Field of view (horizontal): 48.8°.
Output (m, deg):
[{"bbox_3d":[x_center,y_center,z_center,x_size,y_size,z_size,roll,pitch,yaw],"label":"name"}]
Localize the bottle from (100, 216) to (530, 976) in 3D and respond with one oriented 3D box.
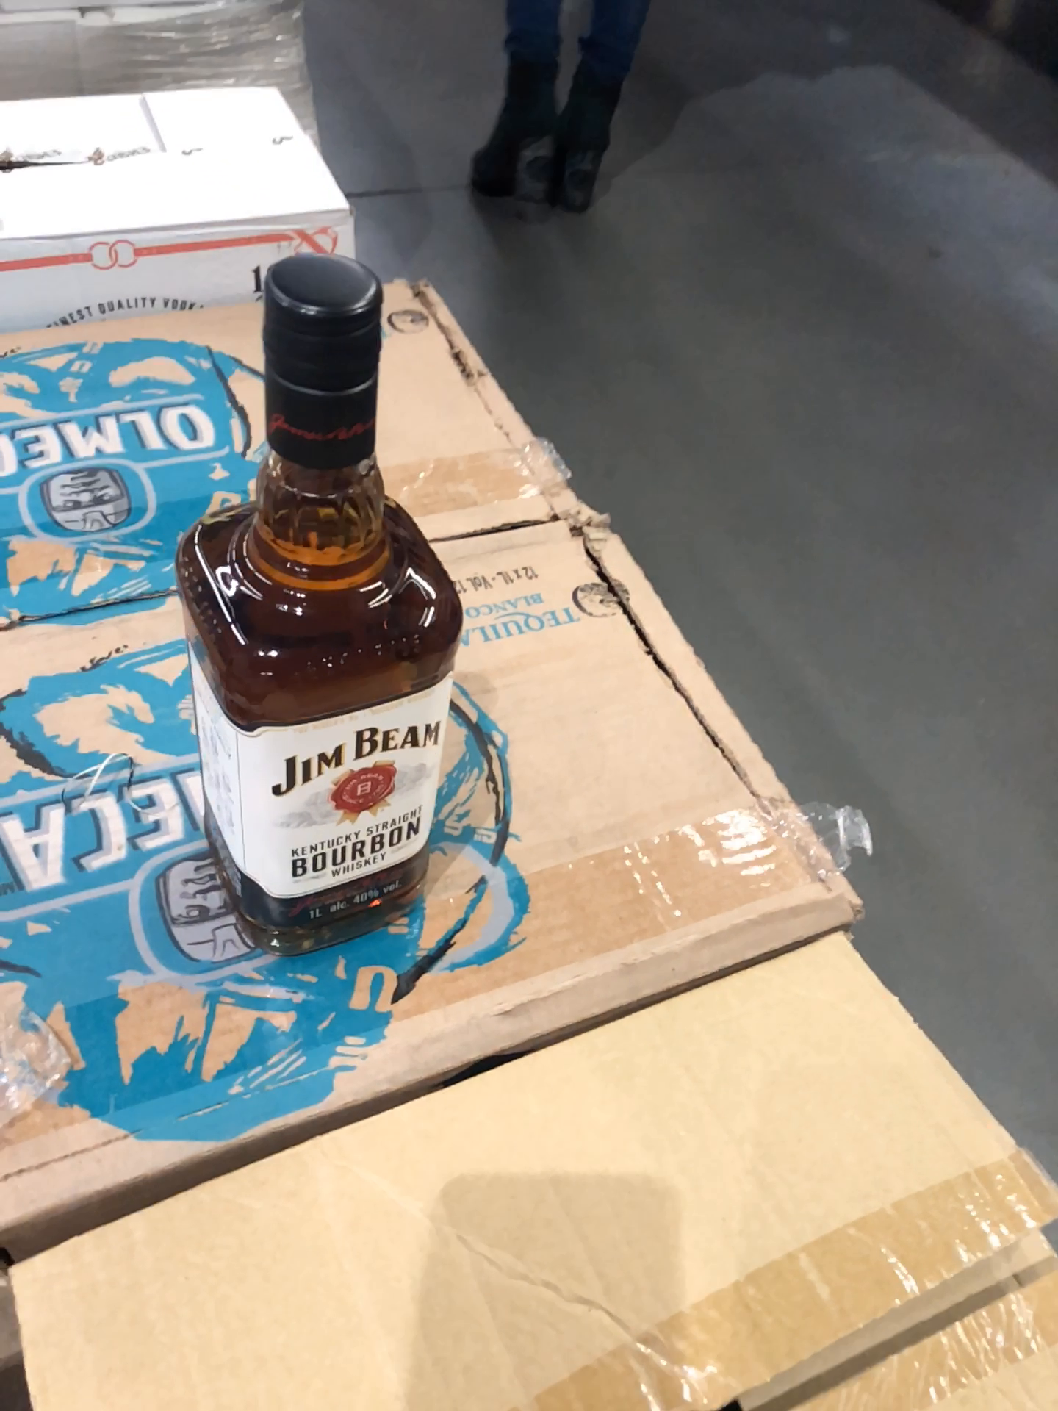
[{"bbox_3d":[-0.074,-0.019,0.406,0.091,0.263,0.081,-16,53,-22],"label":"bottle"}]
